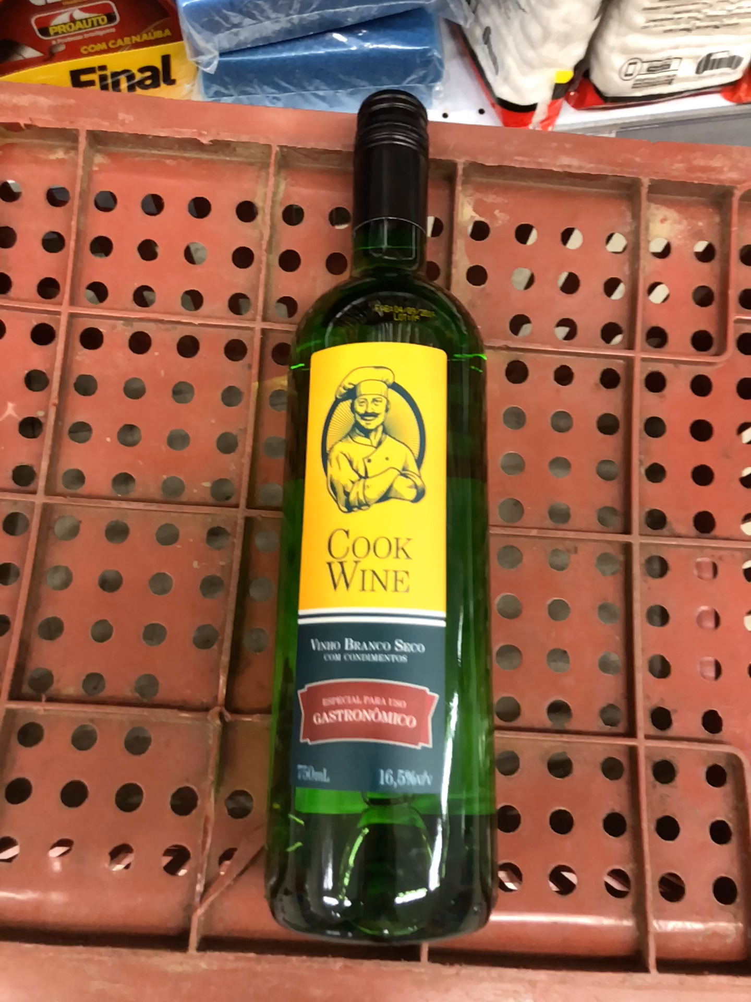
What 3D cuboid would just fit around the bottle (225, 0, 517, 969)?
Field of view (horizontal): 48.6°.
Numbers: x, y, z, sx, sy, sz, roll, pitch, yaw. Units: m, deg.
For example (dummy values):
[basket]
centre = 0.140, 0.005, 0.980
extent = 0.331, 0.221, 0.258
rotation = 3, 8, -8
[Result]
[bottle]
centre = 0.006, -0.025, 0.292
extent = 0.080, 0.060, 0.320
rotation = 0, 77, 8
